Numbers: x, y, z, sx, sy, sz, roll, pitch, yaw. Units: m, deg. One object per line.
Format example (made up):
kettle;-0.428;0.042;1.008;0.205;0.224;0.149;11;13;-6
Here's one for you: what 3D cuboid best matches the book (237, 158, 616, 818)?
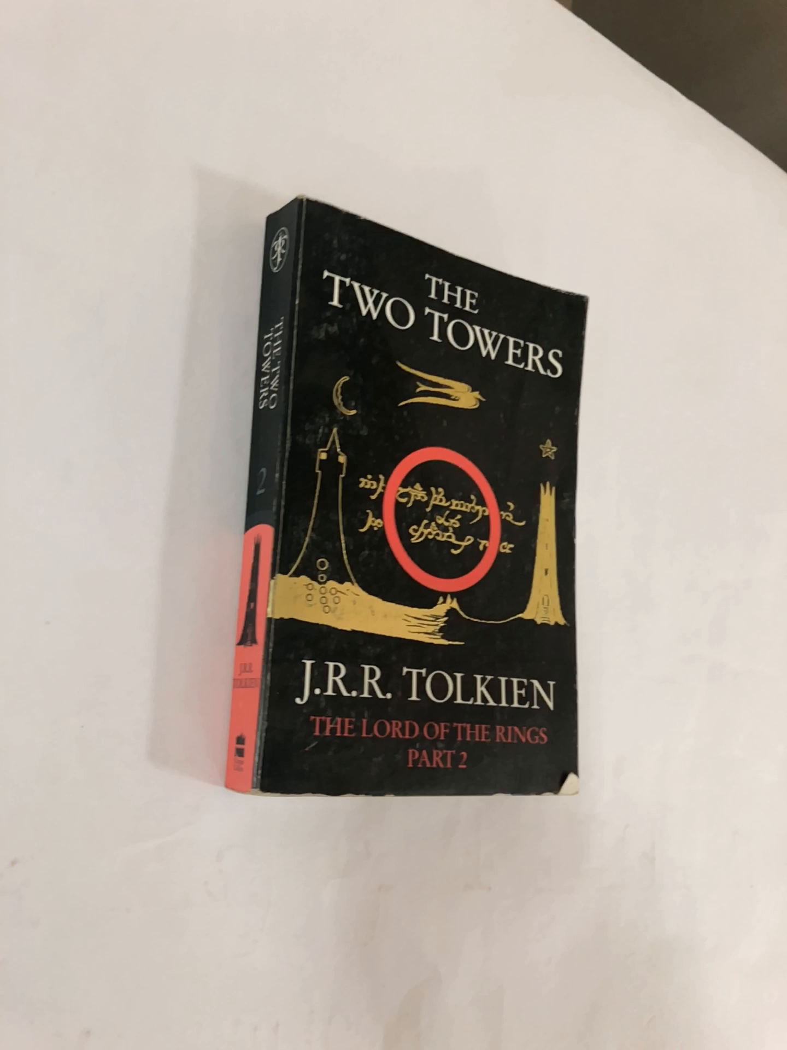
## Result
book;0.018;-0.007;0.306;0.130;0.030;0.200;11;74;-34
